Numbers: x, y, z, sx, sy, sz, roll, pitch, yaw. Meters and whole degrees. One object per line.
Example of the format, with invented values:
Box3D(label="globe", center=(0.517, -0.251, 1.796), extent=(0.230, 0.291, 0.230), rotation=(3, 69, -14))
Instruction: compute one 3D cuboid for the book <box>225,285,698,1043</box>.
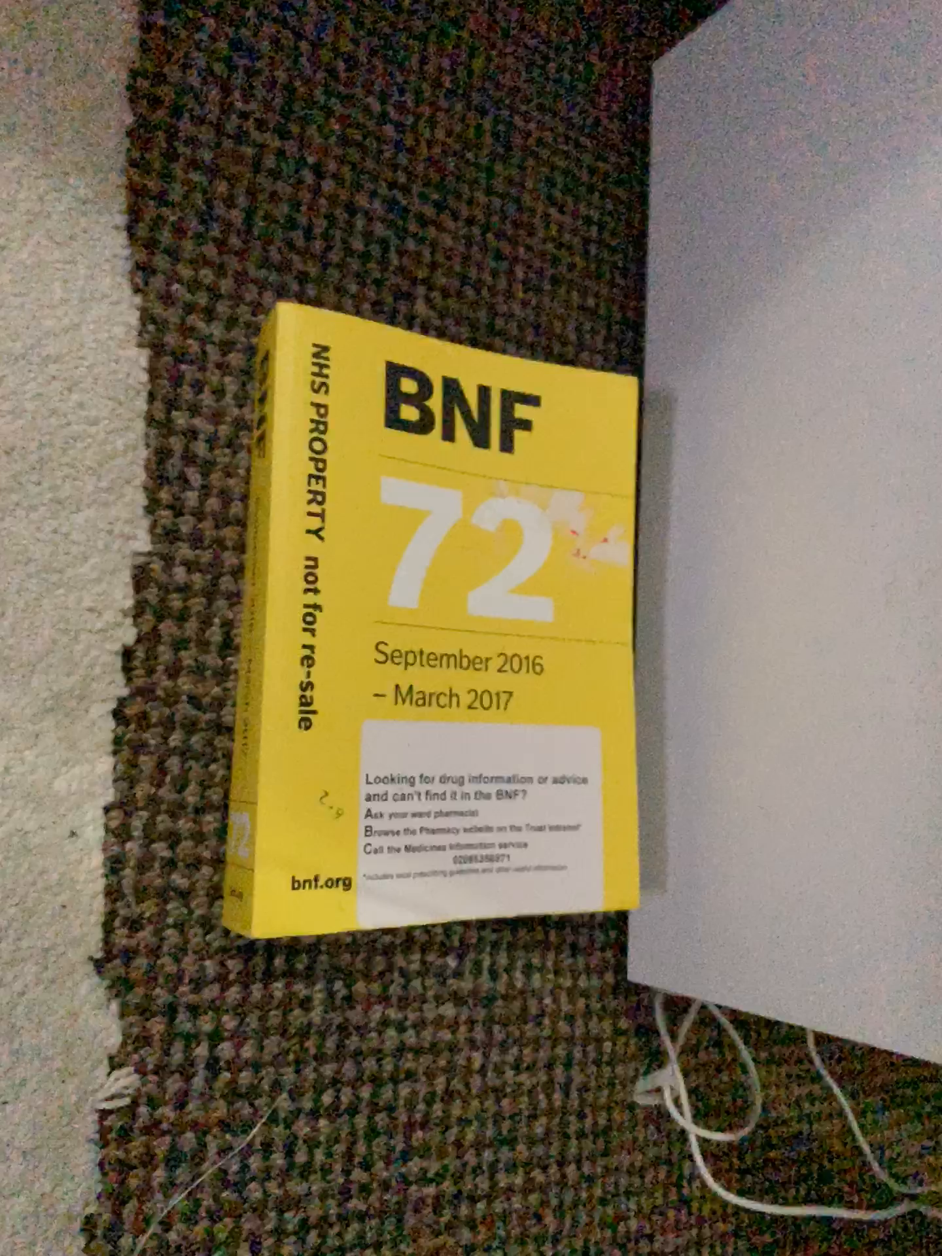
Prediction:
Box3D(label="book", center=(0.003, 0.013, 0.347), extent=(0.161, 0.050, 0.220), rotation=(5, 81, -34))
